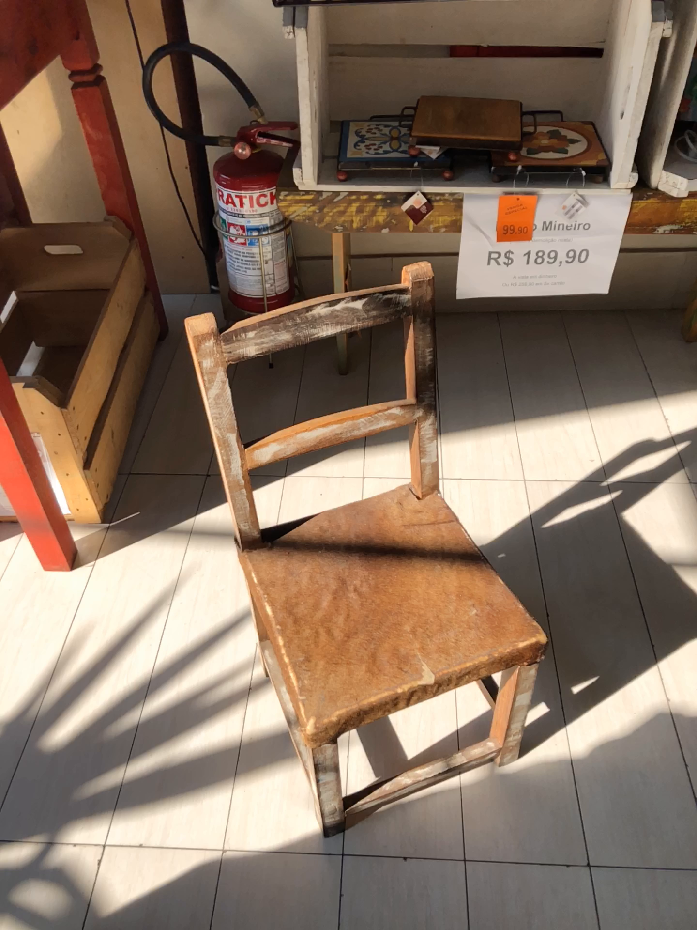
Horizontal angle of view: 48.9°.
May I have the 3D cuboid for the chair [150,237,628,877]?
[{"bbox_3d":[0.022,0.121,0.872,0.300,0.596,0.342,-18,44,-16],"label":"chair"}]
